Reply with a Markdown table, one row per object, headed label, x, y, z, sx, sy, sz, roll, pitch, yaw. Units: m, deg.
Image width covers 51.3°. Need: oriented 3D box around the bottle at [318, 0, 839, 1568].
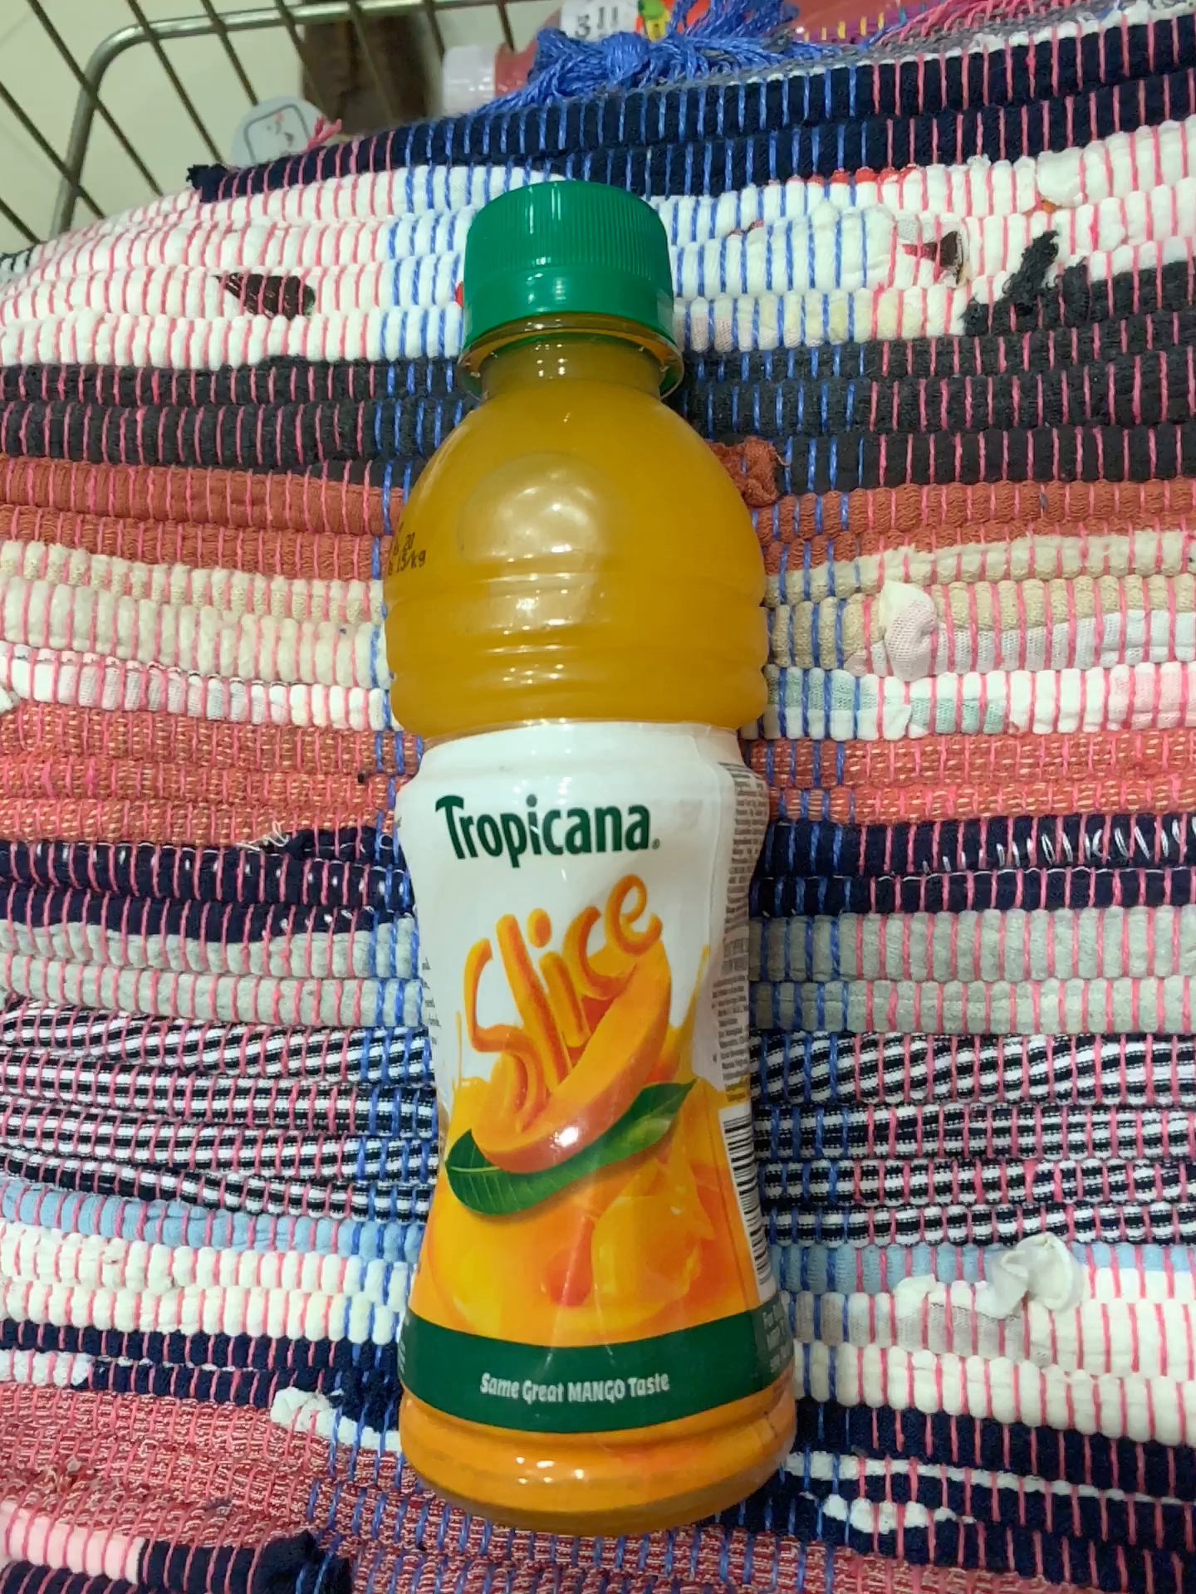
| label | x | y | z | sx | sy | sz | roll | pitch | yaw |
| --- | --- | --- | --- | --- | --- | --- | --- | --- | --- |
| bottle | 0.002 | -0.006 | 0.178 | 0.060 | 0.050 | 0.190 | -1 | 82 | 10 |
